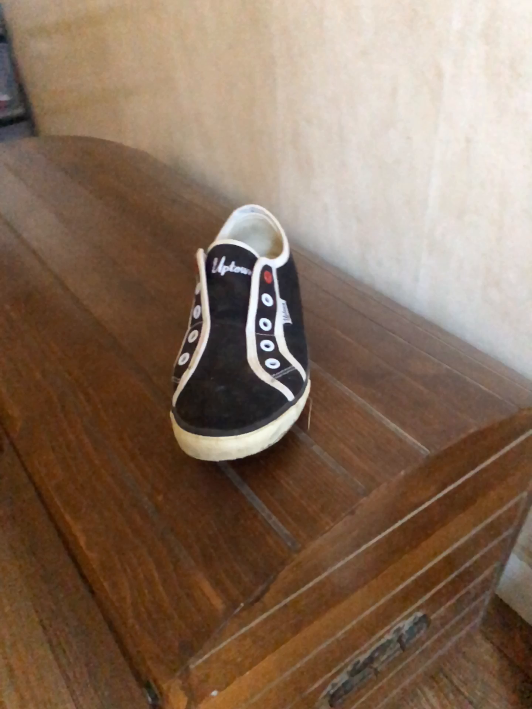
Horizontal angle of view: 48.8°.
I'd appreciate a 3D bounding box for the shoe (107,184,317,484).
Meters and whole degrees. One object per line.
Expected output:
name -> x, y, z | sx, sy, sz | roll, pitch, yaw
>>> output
shoe -> -0.018, -0.033, 0.414 | 0.100, 0.080, 0.242 | 1, 39, 6
